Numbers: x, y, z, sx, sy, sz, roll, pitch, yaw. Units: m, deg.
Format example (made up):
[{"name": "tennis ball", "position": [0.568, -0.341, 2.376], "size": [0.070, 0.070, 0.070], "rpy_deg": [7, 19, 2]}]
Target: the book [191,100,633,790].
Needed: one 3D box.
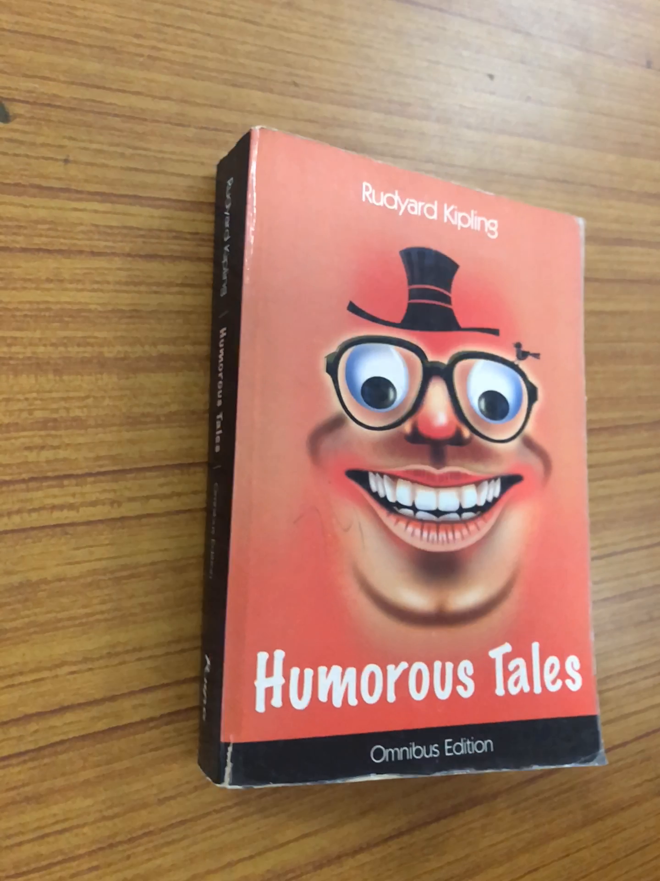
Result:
[{"name": "book", "position": [0.028, 0.002, 0.242], "size": [0.130, 0.040, 0.190], "rpy_deg": [4, 81, -18]}]
